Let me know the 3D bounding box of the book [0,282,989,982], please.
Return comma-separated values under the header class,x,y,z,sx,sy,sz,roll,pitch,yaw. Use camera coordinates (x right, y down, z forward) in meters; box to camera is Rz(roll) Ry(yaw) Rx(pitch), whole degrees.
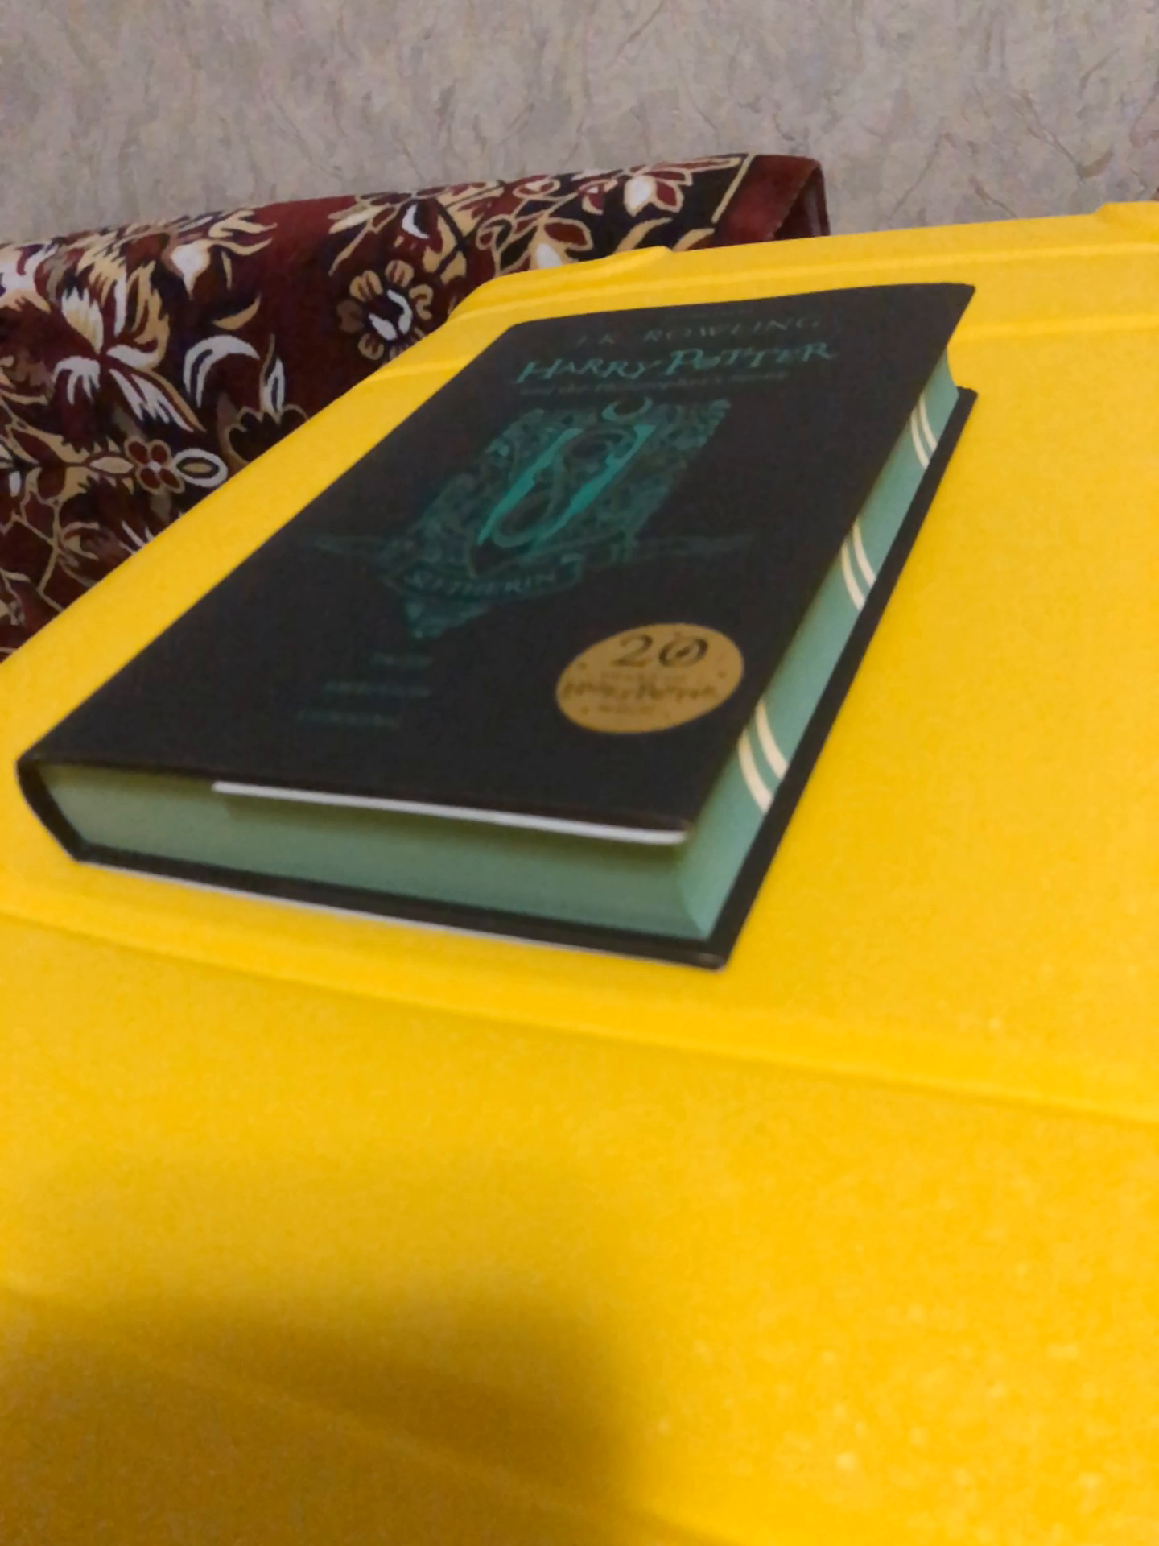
class,x,y,z,sx,sy,sz,roll,pitch,yaw
book,-0.001,-0.051,0.274,0.137,0.030,0.205,6,40,26
